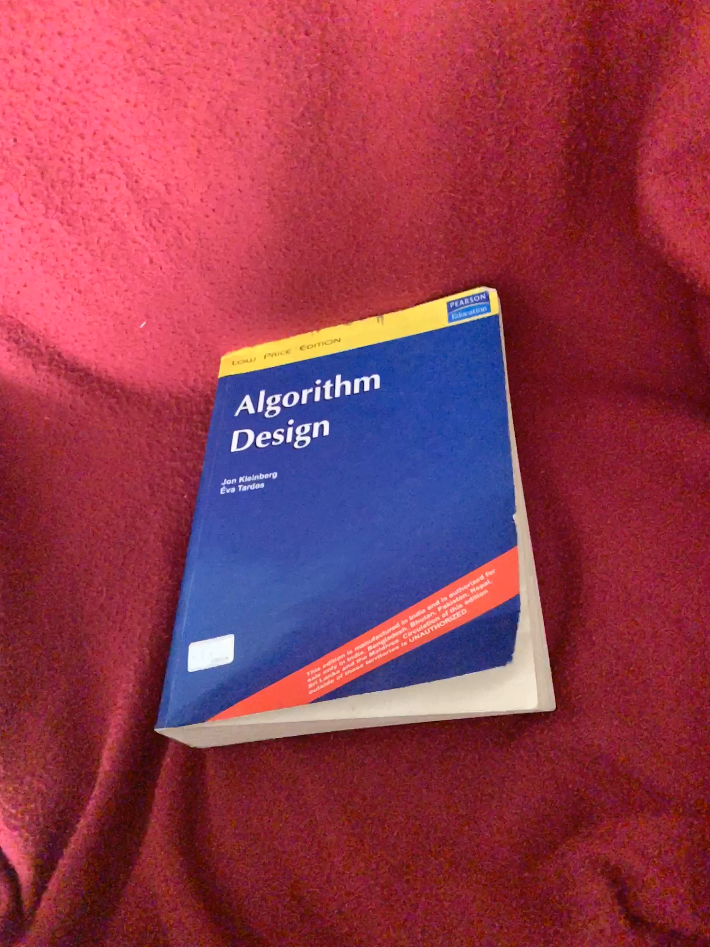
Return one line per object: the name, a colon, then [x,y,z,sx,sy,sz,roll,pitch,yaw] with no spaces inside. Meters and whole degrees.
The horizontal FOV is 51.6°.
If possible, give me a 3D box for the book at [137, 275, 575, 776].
book: [0.001,0.021,0.403,0.190,0.060,0.251,-10,55,15]
